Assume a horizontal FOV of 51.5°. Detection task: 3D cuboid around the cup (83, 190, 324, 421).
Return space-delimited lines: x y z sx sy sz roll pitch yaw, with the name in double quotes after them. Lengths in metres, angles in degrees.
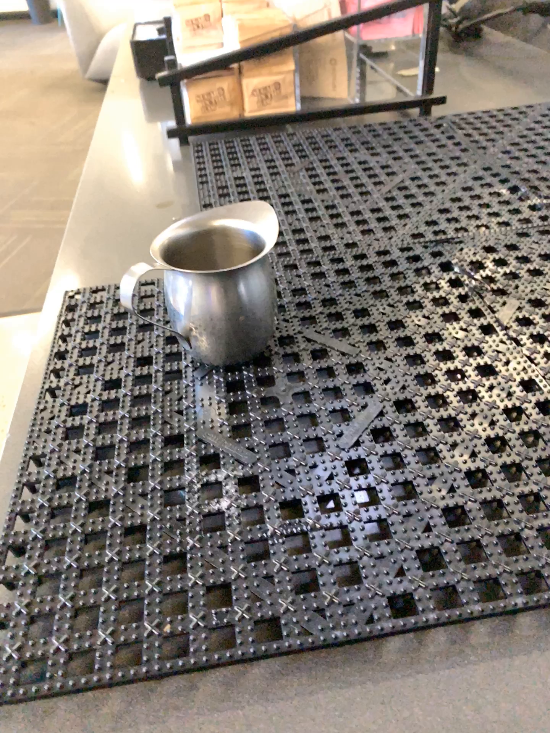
-0.034 -0.040 0.326 0.070 0.070 0.110 28 50 33 "cup"
